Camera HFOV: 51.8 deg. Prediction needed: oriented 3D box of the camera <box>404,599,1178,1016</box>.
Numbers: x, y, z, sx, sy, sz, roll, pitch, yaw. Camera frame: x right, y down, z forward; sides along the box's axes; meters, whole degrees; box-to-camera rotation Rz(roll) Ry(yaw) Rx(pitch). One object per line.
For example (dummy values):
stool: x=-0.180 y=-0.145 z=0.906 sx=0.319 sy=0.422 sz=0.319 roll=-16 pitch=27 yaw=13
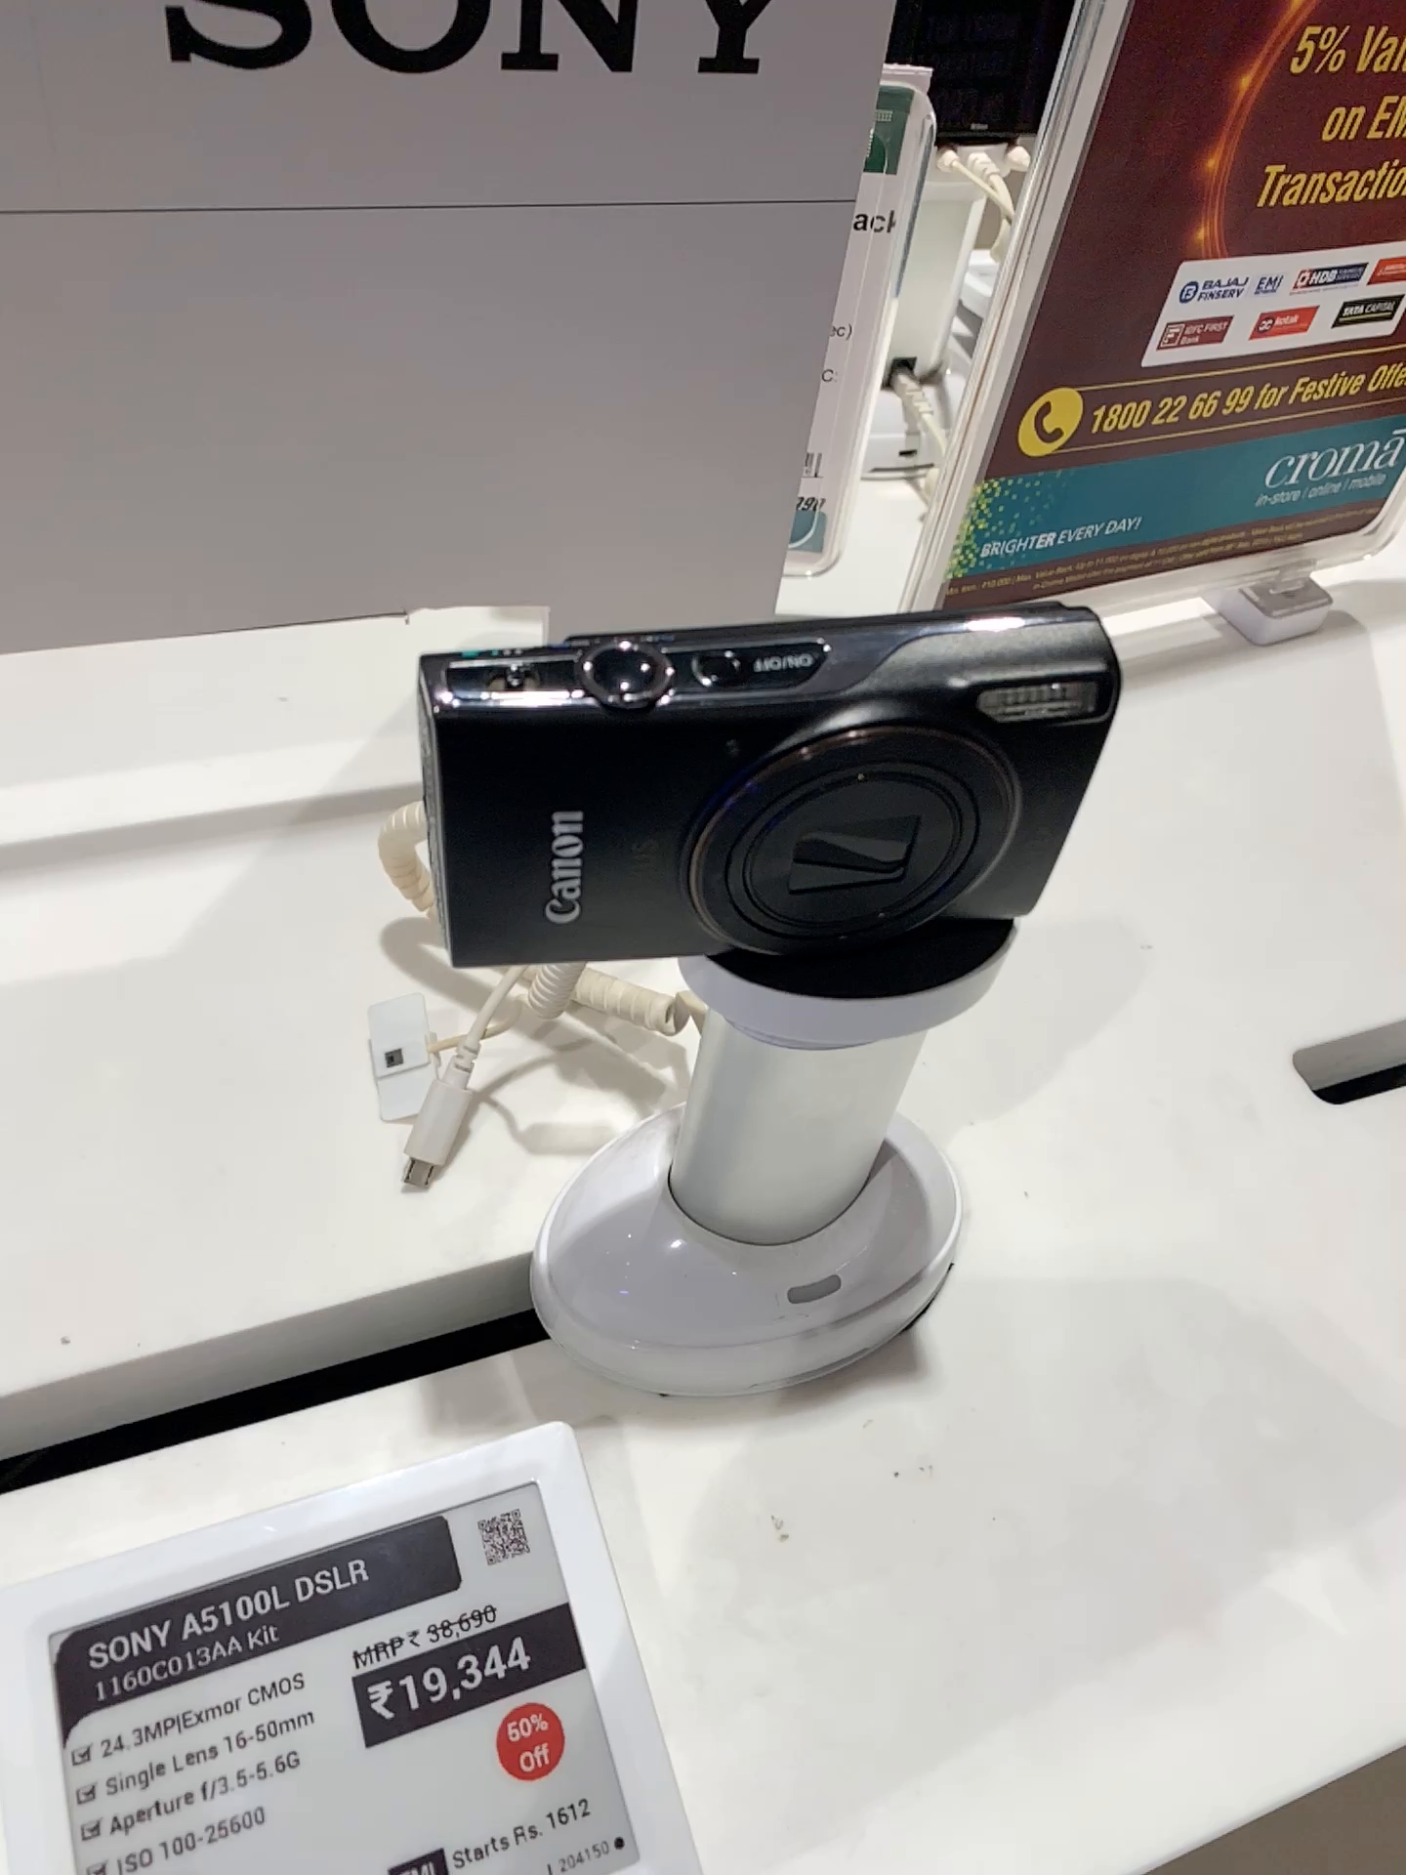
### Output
camera: x=0.010 y=-0.019 z=0.204 sx=0.100 sy=0.050 sz=0.020 roll=-7 pitch=51 yaw=-18
